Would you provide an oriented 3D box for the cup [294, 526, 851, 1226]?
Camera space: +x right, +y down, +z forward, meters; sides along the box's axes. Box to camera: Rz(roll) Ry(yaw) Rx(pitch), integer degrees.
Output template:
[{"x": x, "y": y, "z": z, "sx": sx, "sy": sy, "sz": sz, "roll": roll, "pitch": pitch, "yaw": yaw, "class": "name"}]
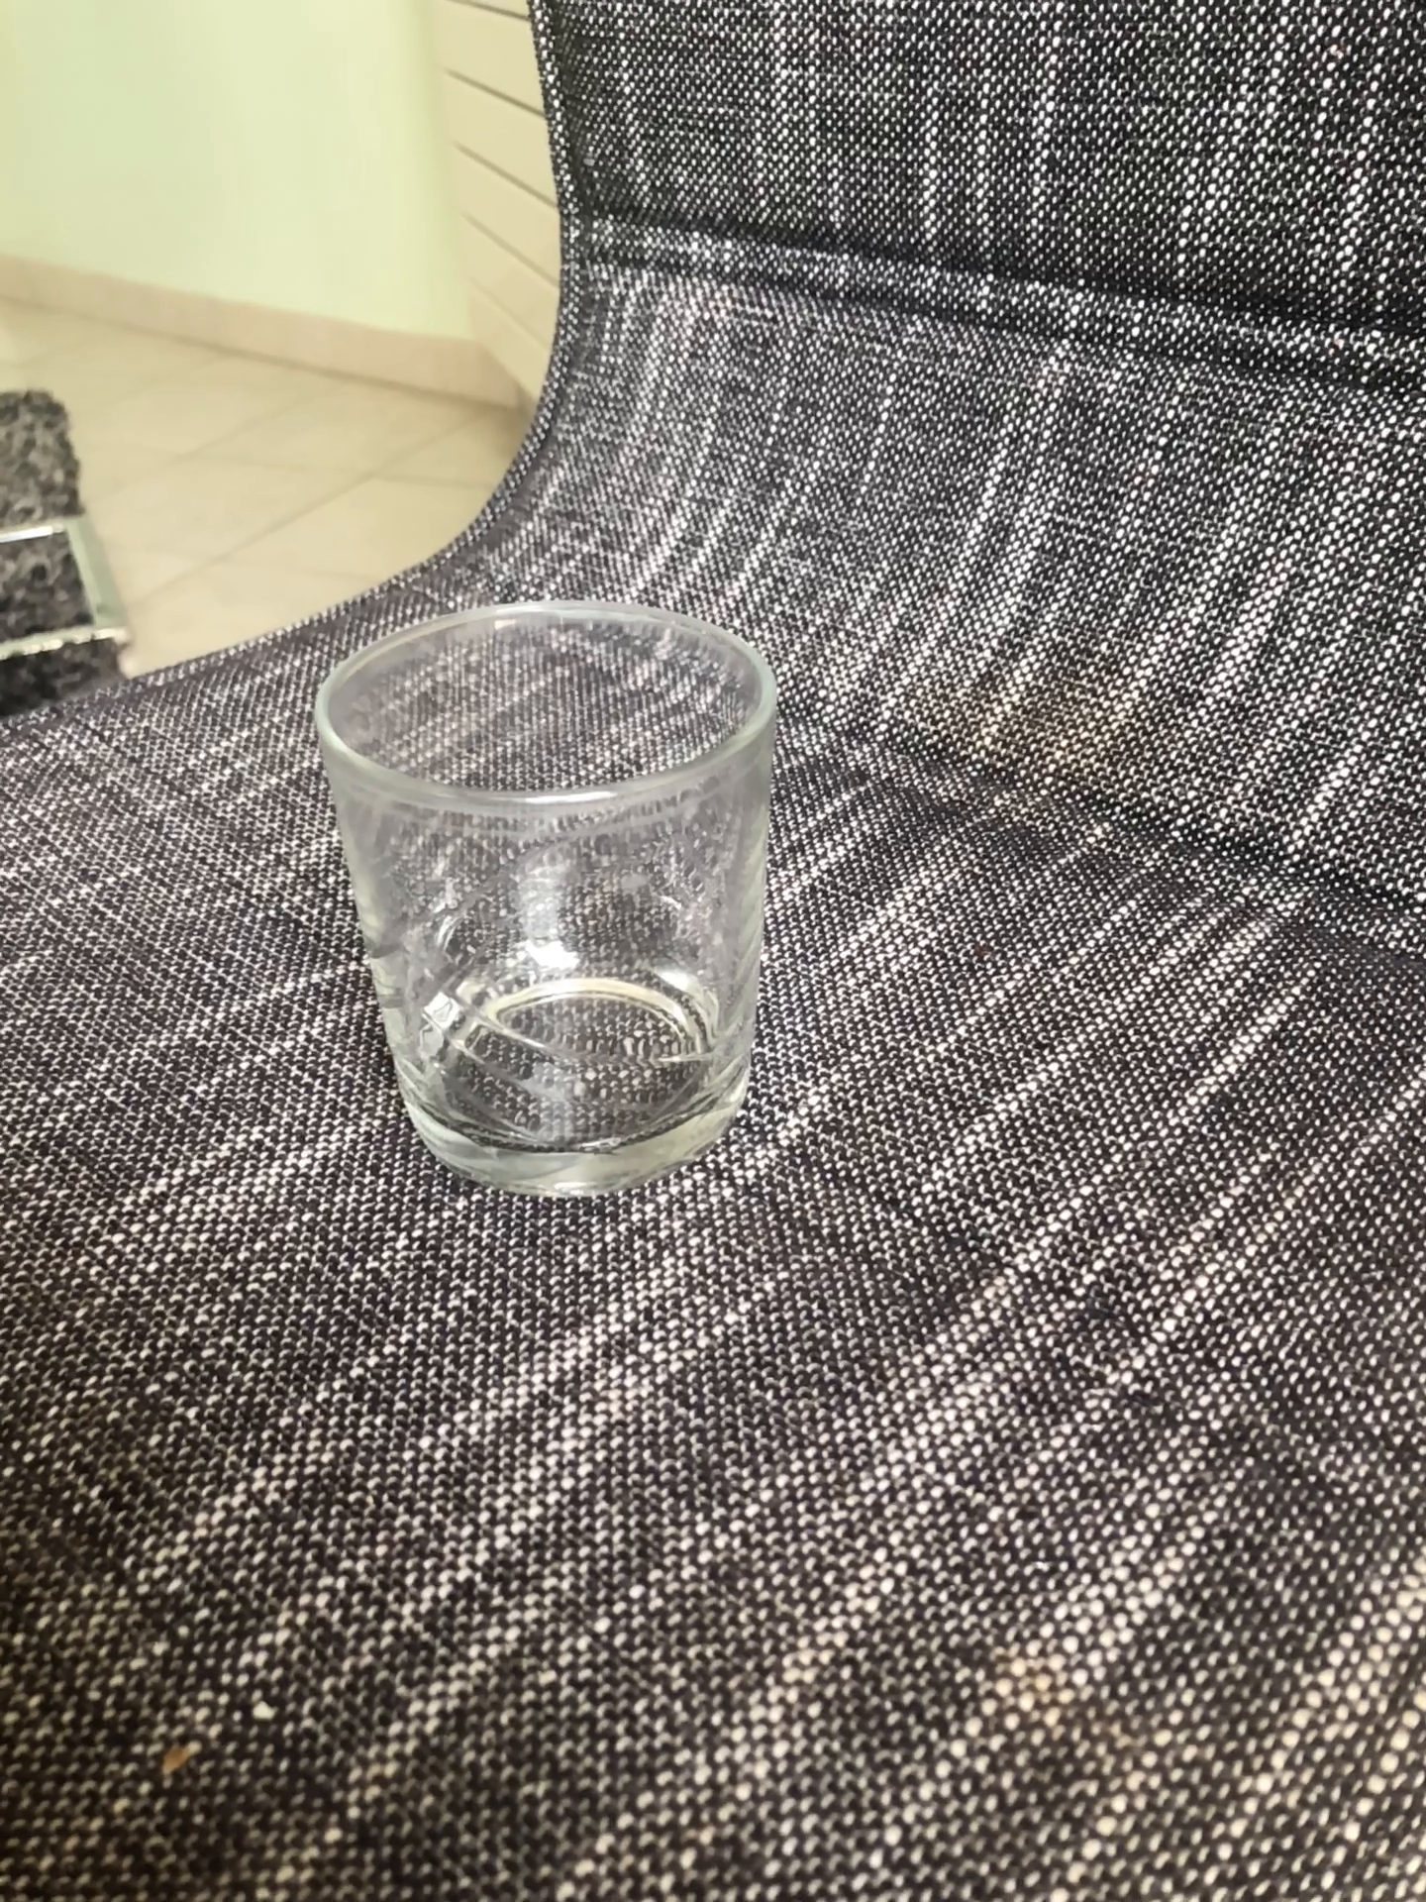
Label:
[{"x": -0.023, "y": -0.015, "z": 0.262, "sx": 0.070, "sy": 0.080, "sz": 0.070, "roll": -3, "pitch": 34, "yaw": 2, "class": "cup"}]
